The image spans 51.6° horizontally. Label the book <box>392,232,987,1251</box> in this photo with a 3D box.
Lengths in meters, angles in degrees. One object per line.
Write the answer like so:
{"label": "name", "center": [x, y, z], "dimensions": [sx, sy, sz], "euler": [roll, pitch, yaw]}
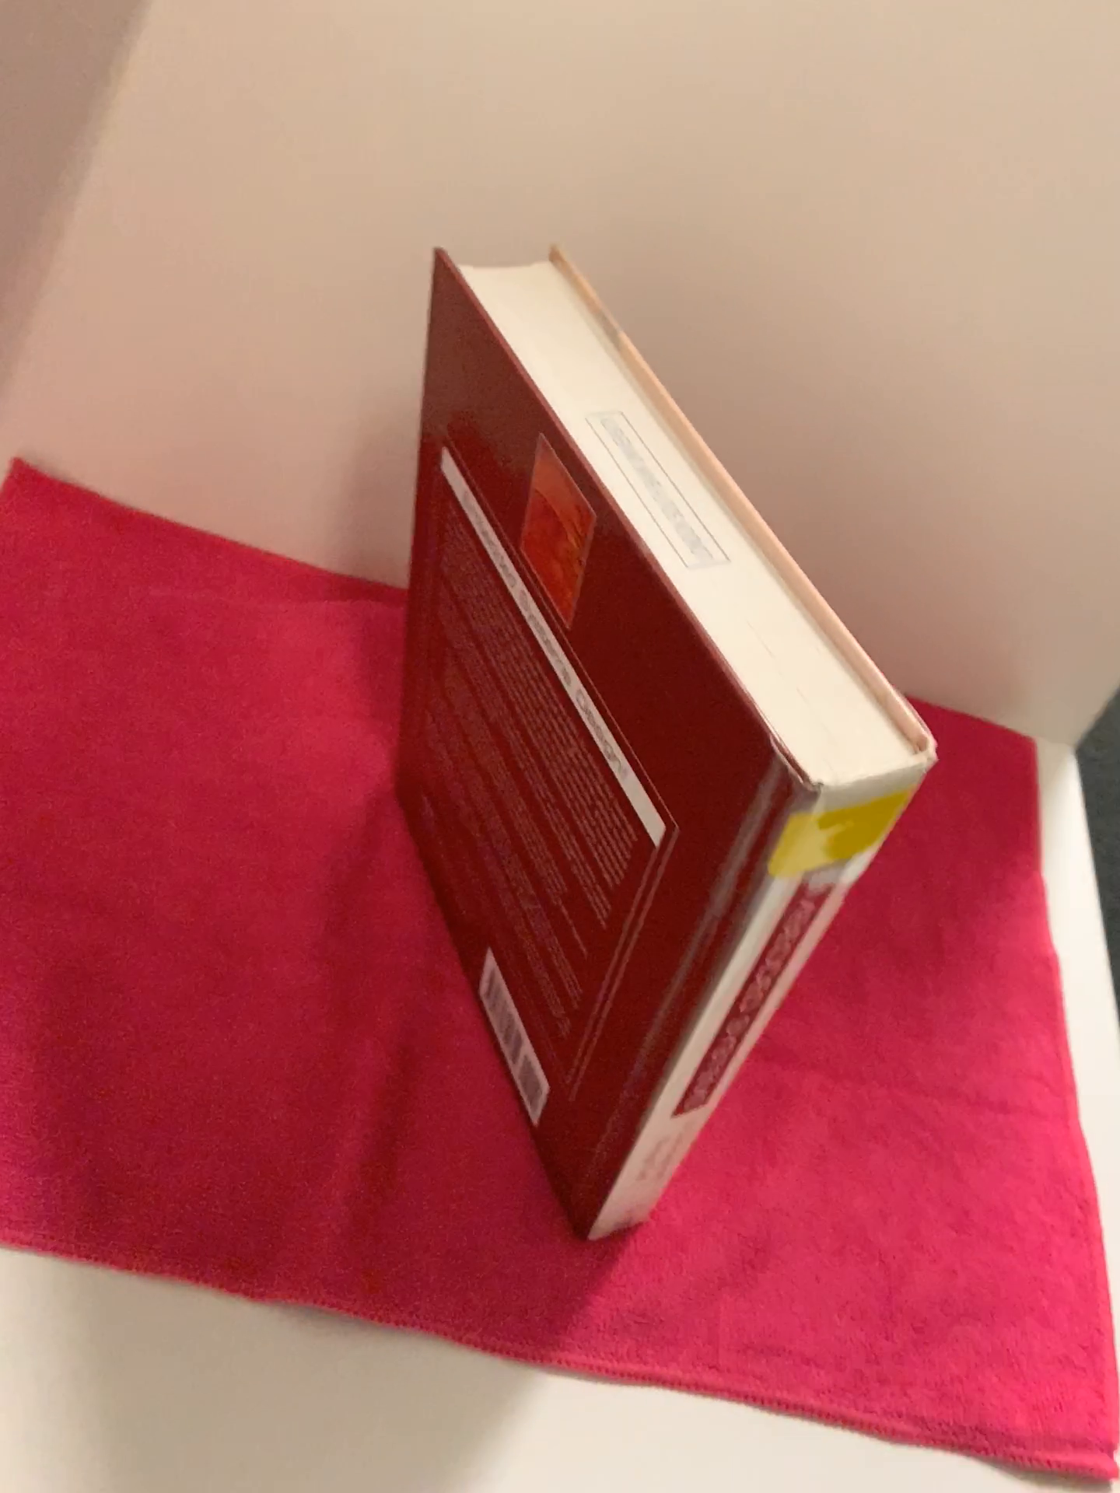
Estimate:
{"label": "book", "center": [0.004, 0.011, 0.378], "dimensions": [0.044, 0.258, 0.213], "euler": [-13, 53, -21]}
